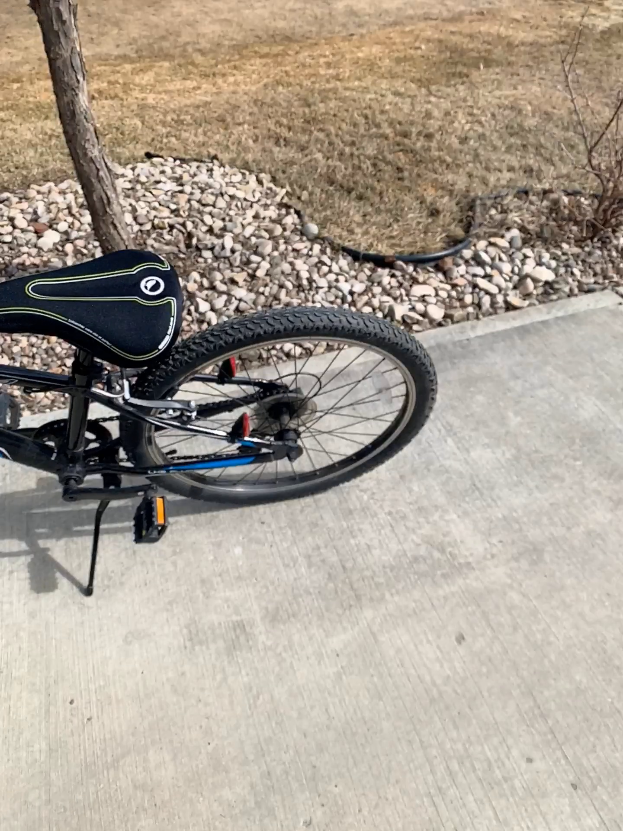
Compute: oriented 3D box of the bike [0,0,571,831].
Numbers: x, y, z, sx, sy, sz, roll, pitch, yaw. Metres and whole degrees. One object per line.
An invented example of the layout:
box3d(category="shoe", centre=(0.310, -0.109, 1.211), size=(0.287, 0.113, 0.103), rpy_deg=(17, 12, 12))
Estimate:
box3d(category="bike", centre=(-0.475, 0.090, 0.925), size=(1.389, 0.885, 0.517), rpy_deg=(-17, 45, -7))
